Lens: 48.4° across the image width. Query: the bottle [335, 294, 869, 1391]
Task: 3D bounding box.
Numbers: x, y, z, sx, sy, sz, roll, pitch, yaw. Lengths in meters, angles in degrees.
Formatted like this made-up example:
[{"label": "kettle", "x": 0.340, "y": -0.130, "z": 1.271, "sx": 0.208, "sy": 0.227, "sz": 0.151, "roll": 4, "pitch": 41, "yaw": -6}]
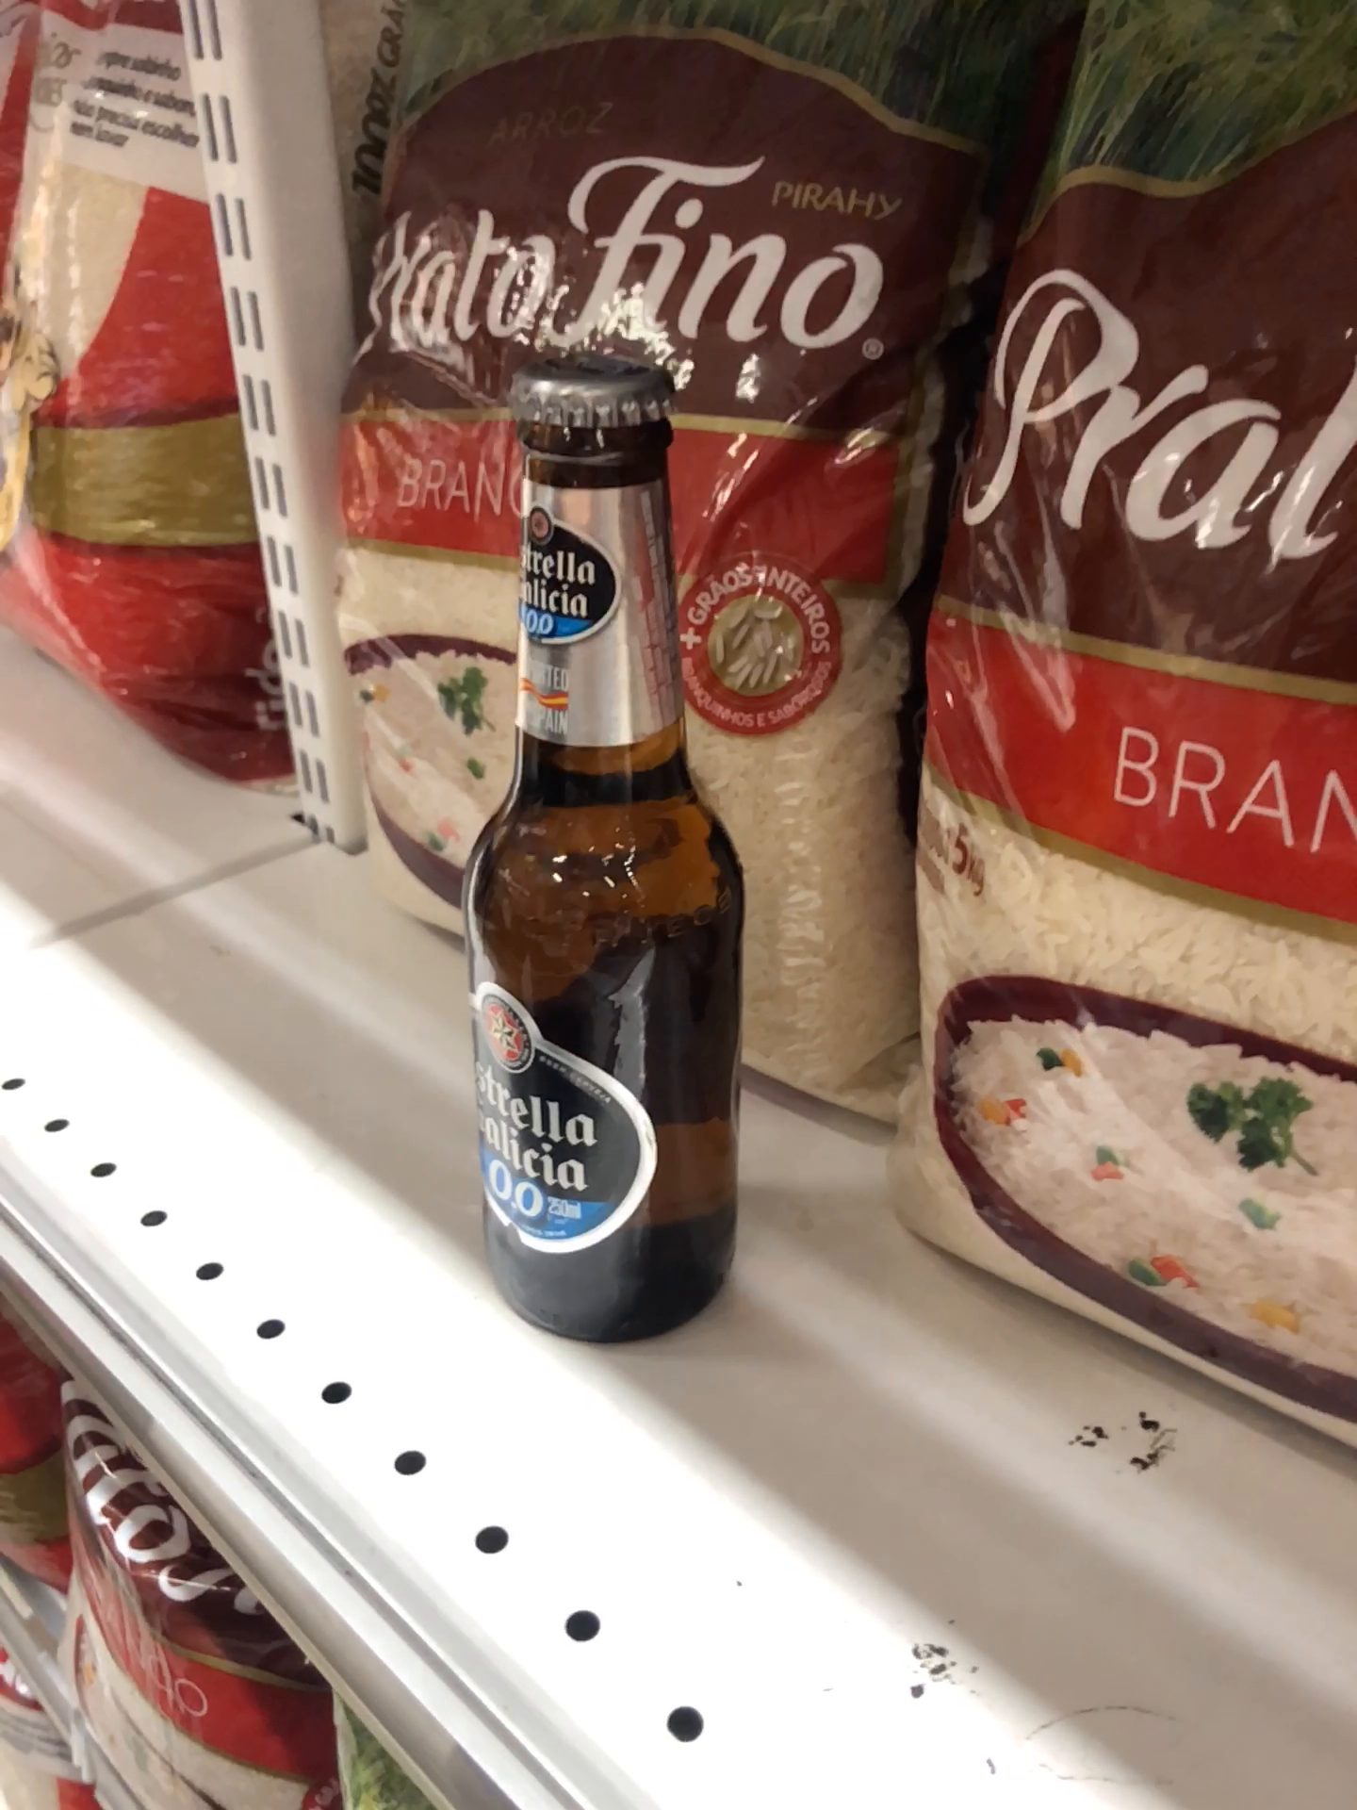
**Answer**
[{"label": "bottle", "x": -0.013, "y": -0.008, "z": 0.286, "sx": 0.060, "sy": 0.188, "sz": 0.060, "roll": 0, "pitch": 30, "yaw": 0}]
